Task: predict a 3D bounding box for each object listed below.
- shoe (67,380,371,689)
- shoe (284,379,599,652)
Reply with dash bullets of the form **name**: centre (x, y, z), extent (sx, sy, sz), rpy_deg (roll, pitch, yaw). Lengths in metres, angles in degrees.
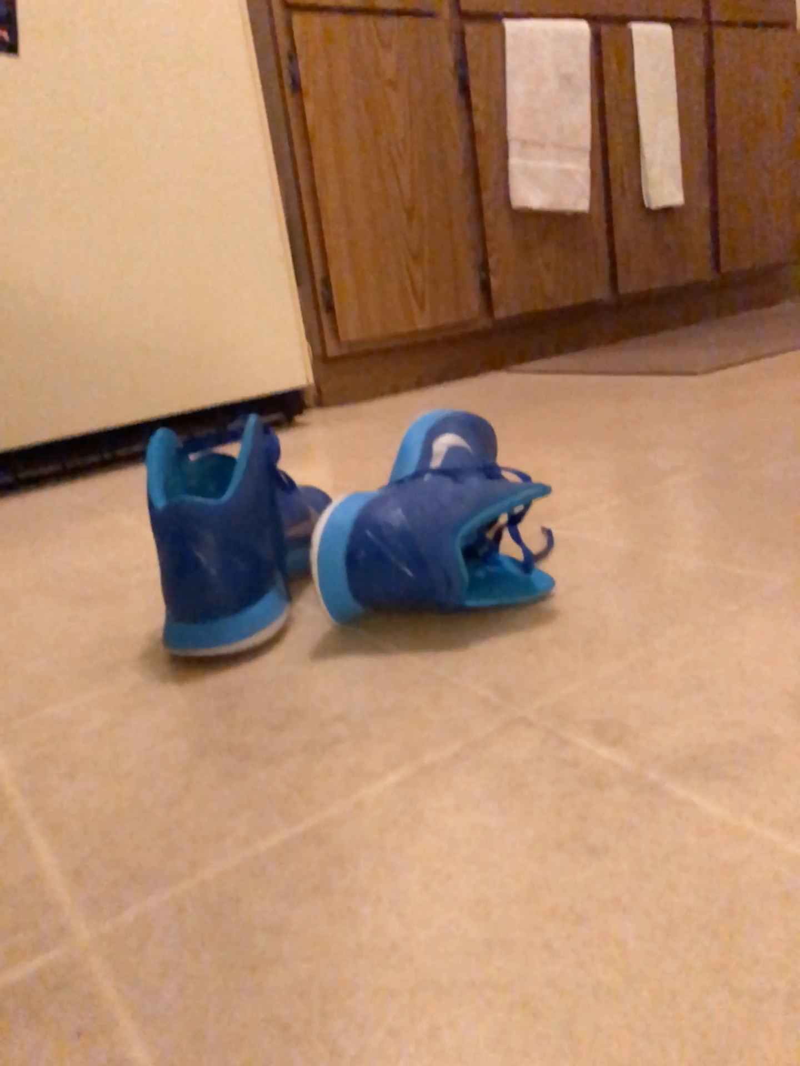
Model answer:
- **shoe**: centre (-0.114, -0.020, 0.684), extent (0.120, 0.144, 0.311), rpy_deg (-7, 16, 8)
- **shoe**: centre (0.052, -0.033, 0.658), extent (0.159, 0.119, 0.282), rpy_deg (2, 19, 19)
